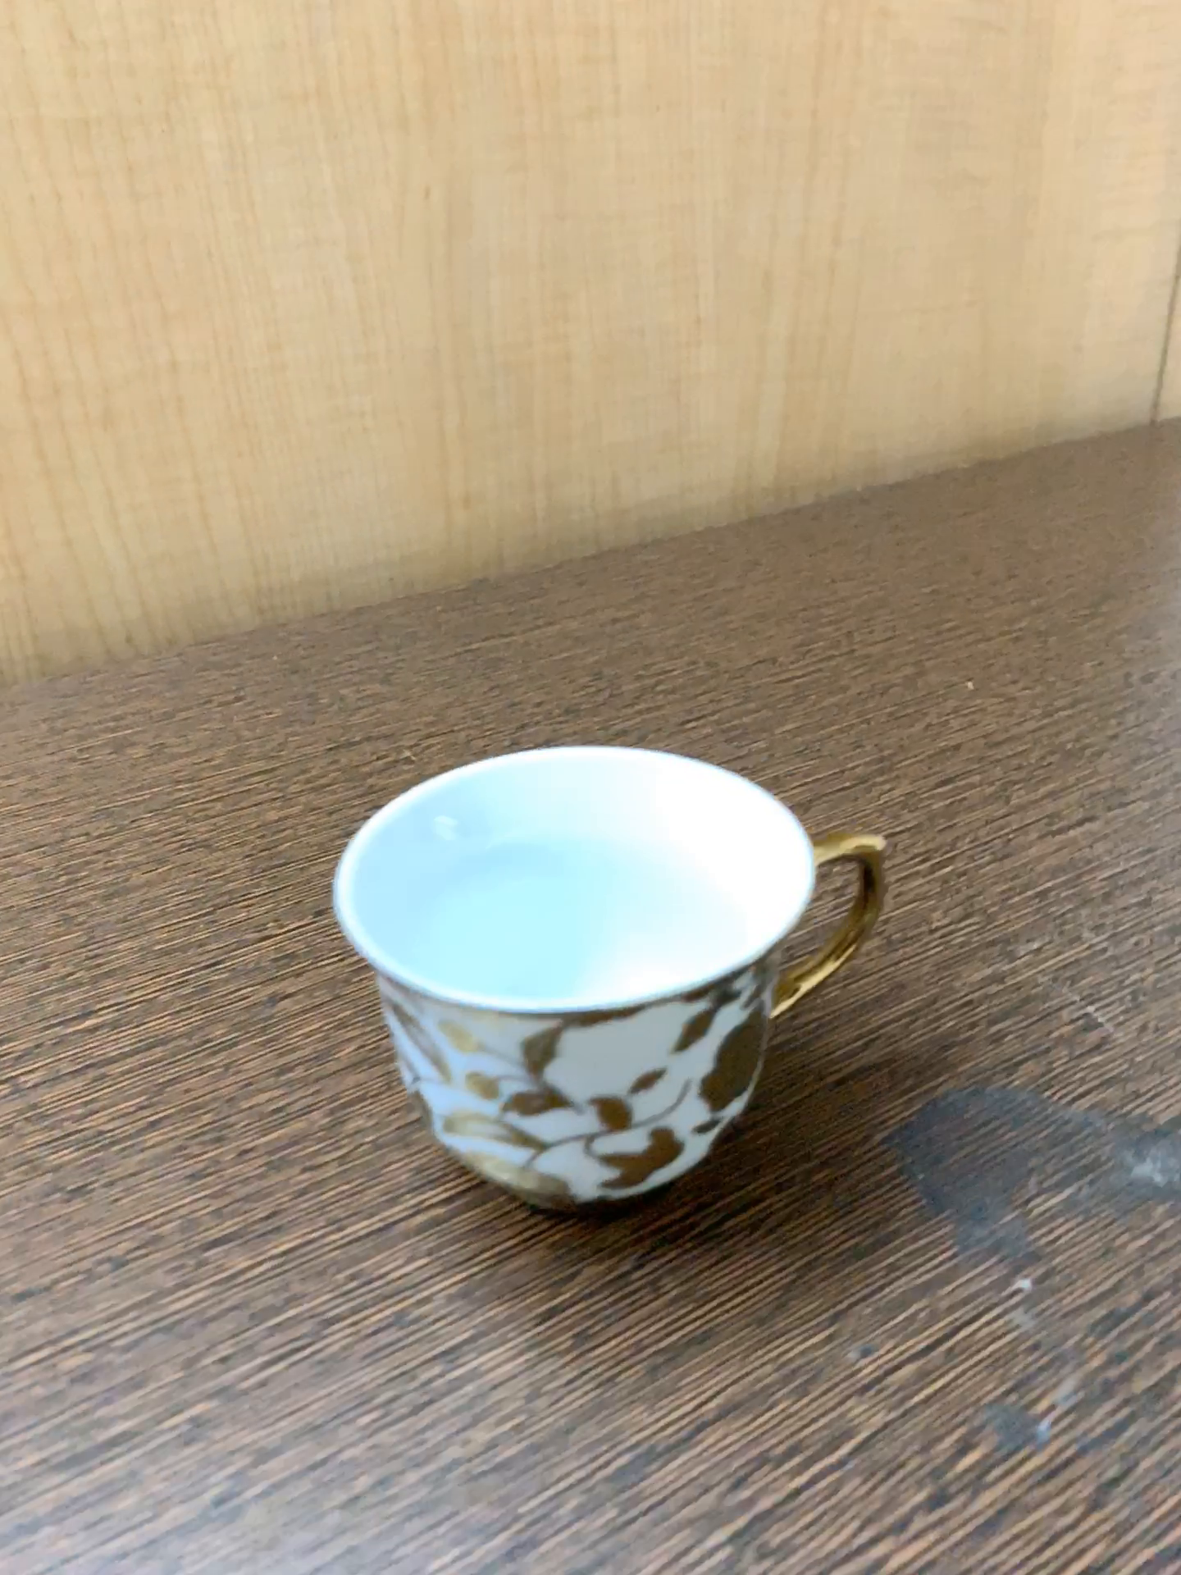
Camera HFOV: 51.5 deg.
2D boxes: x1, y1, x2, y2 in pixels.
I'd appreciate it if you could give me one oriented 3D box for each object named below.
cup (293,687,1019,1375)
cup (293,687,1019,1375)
[{"bbox_3d":[0.006,0.028,0.187,0.080,0.050,0.070,-15,31,-22],"label":"cup"},{"bbox_3d":[0.006,0.028,0.187,0.080,0.050,0.070,-15,31,-22],"label":"cup"}]
